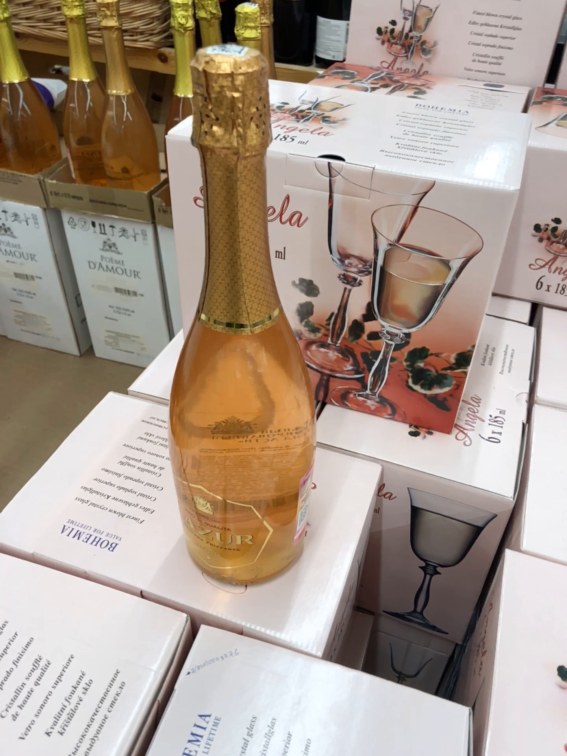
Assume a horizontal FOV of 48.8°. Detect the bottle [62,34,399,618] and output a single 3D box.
[{"bbox_3d":[-0.022,-0.008,0.344,0.100,0.298,0.090,23,44,24],"label":"bottle"}]
